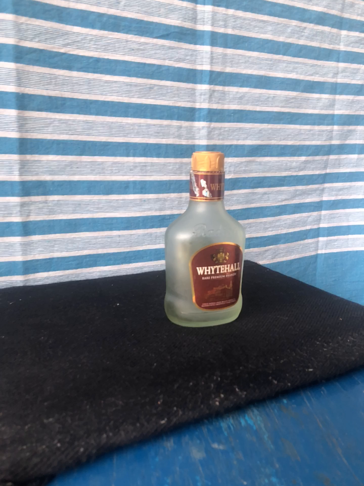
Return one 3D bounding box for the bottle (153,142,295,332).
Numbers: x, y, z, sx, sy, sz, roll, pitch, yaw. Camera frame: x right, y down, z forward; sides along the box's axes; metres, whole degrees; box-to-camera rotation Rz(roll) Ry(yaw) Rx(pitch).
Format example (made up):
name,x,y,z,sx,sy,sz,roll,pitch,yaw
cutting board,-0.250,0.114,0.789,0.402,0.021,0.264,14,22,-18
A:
name,x,y,z,sx,sy,sz,roll,pitch,yaw
bottle,0.029,-0.009,0.315,0.080,0.130,0.060,-2,15,-24
